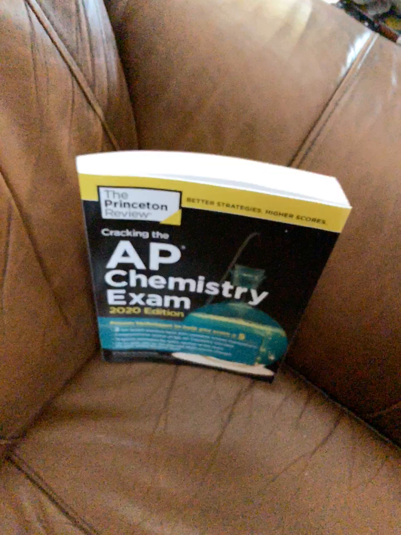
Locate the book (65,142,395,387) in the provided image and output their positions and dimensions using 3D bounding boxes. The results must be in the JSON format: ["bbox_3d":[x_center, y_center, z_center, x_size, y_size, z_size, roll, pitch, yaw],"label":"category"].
[{"bbox_3d":[0.005,0.032,0.440,0.240,0.319,0.040,8,53,-3],"label":"book"}]
